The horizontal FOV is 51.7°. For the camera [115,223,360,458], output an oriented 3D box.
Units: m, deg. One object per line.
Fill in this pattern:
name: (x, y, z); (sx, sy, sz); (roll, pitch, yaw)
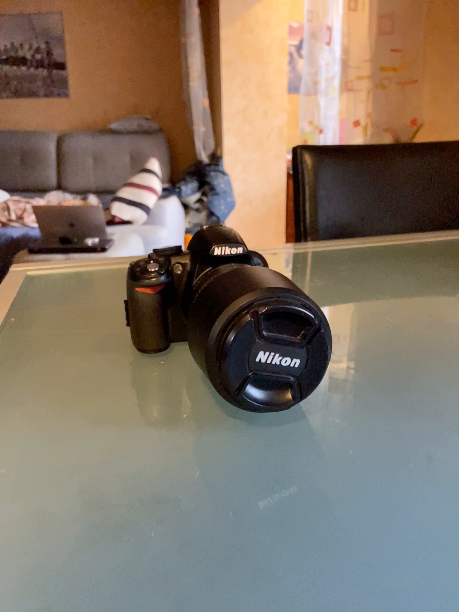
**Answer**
camera: (-0.012, 0.003, 0.342); (0.124, 0.094, 0.189); (-6, 18, -14)
